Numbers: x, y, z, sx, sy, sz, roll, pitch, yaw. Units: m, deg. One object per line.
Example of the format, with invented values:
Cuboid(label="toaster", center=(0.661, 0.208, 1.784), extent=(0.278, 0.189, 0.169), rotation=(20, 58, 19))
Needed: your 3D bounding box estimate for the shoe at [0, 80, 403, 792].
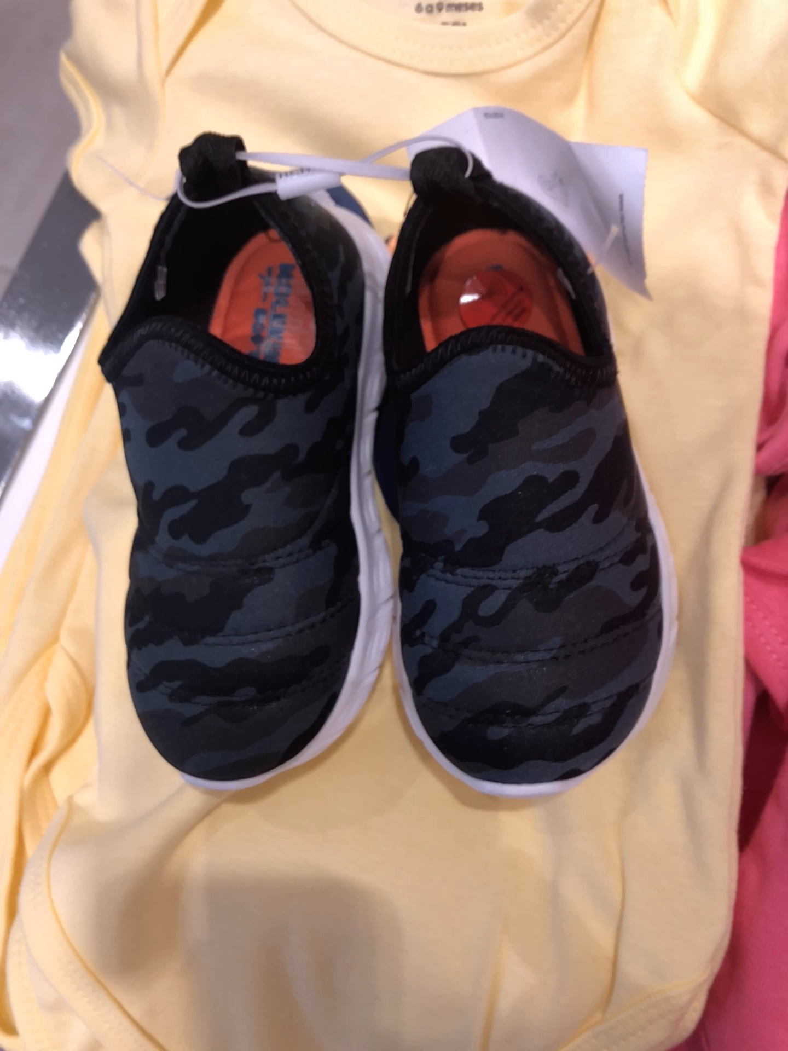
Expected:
Cuboid(label="shoe", center=(-0.041, -0.016, 0.221), extent=(0.070, 0.080, 0.150), rotation=(0, 76, 9))

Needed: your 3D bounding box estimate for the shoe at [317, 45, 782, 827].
Cuboid(label="shoe", center=(0.029, -0.015, 0.204), extent=(0.070, 0.070, 0.150), rotation=(-7, 75, 7))
